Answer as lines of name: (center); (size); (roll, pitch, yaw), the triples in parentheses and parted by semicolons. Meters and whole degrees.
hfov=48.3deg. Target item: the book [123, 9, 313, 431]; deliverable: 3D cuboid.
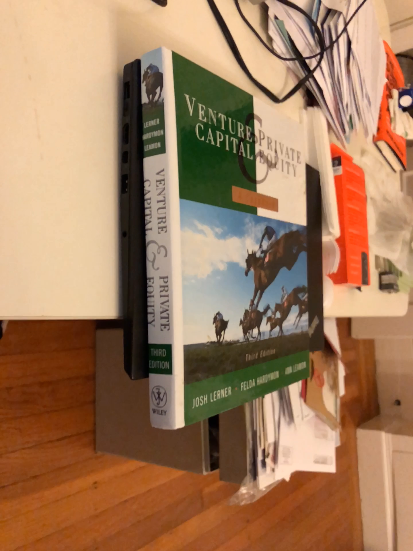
book: (0.025, -0.036, 0.391); (0.221, 0.030, 0.270); (1, 85, -54)
